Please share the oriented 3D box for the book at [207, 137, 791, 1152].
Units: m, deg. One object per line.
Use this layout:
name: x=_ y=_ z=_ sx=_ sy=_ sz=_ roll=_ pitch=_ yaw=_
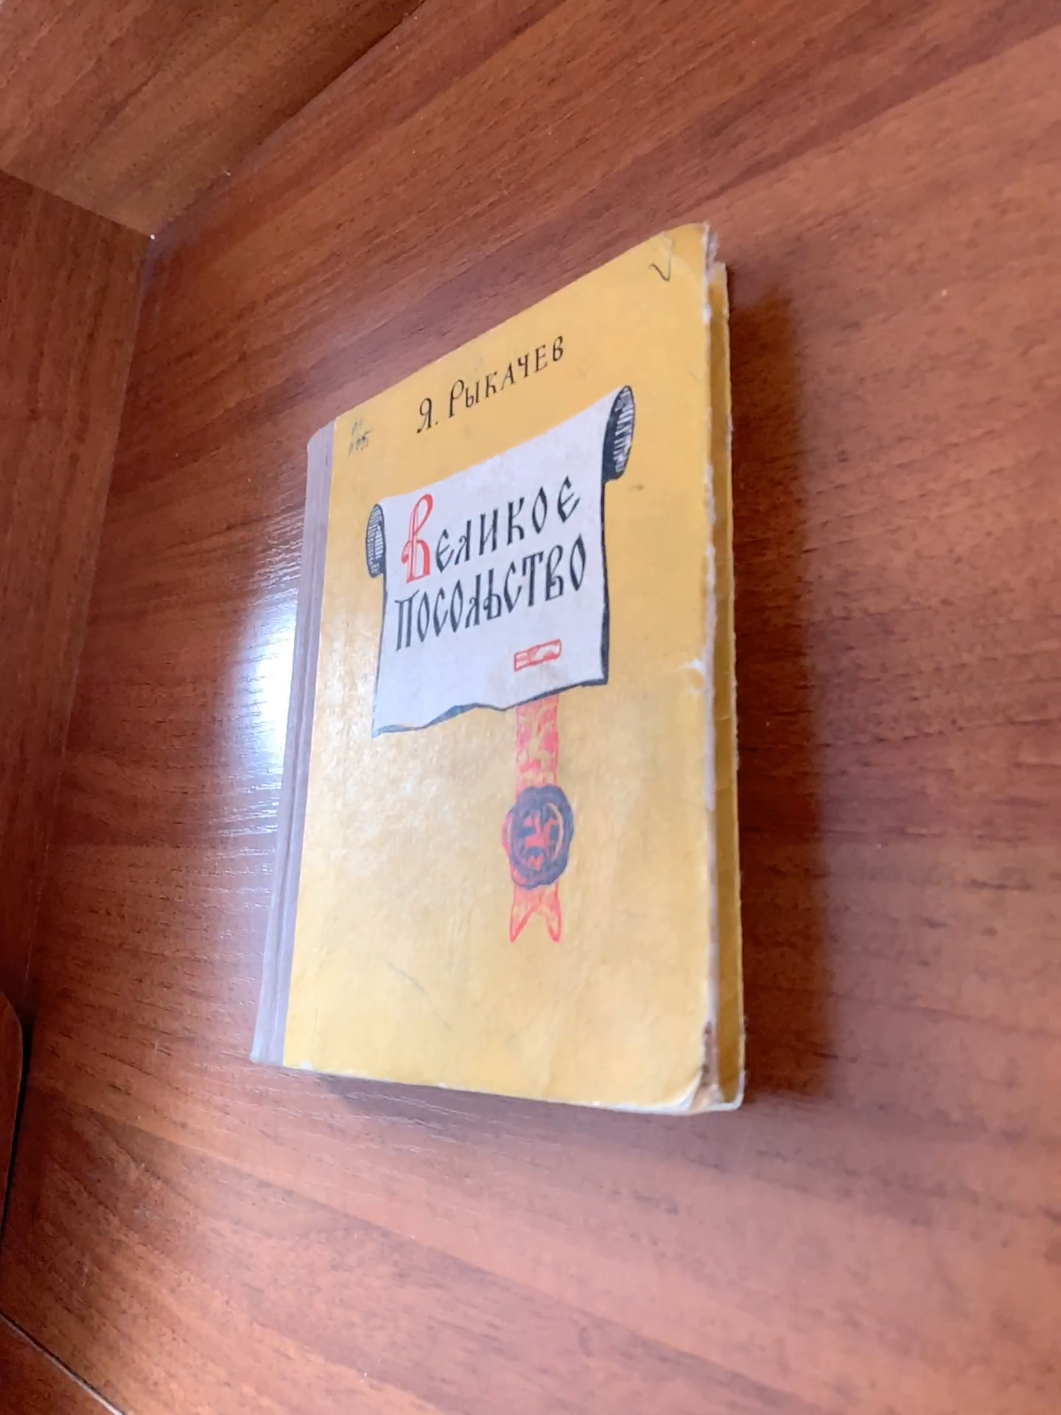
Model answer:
book: x=-0.014 y=-0.008 z=0.234 sx=0.142 sy=0.023 sz=0.170 roll=-10 pitch=73 yaw=44
